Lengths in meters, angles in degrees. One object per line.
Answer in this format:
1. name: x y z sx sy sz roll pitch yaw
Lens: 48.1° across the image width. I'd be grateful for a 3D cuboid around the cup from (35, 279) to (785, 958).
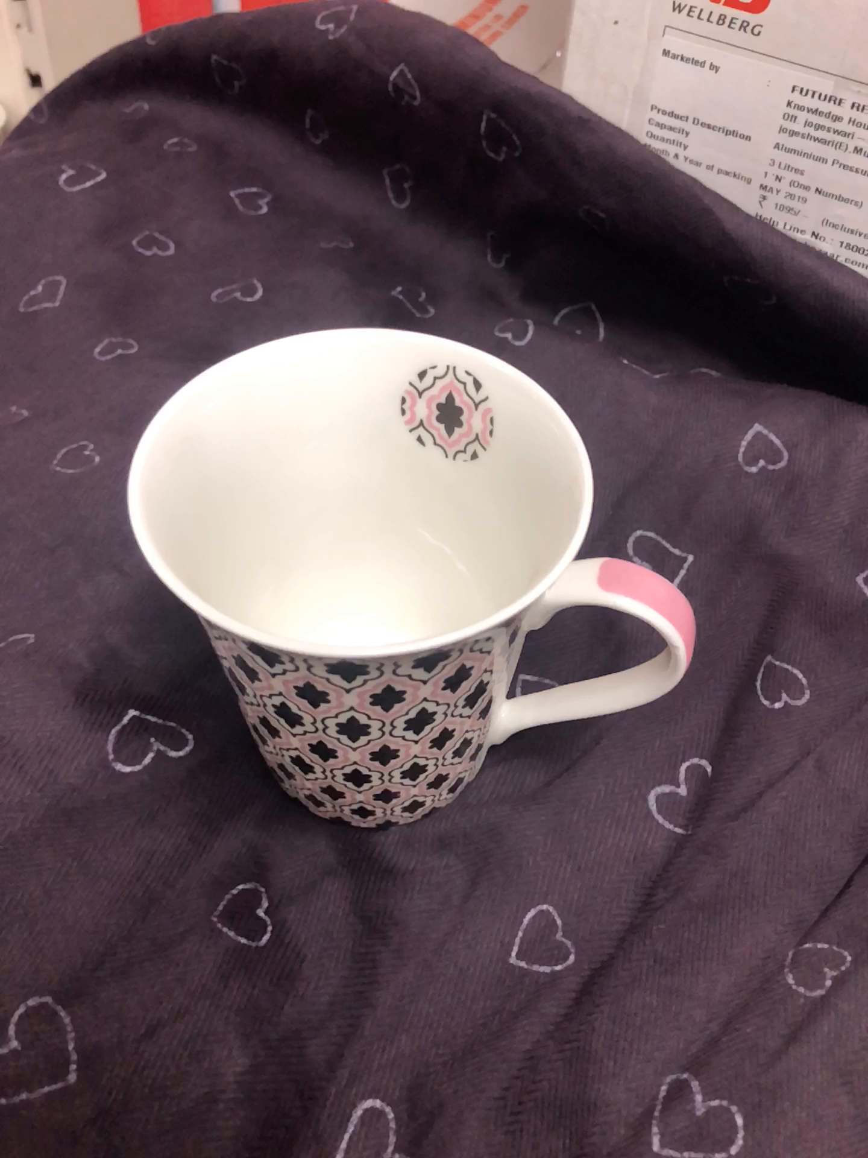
1. cup: 0.000 0.006 0.214 0.120 0.080 0.091 16 50 8
